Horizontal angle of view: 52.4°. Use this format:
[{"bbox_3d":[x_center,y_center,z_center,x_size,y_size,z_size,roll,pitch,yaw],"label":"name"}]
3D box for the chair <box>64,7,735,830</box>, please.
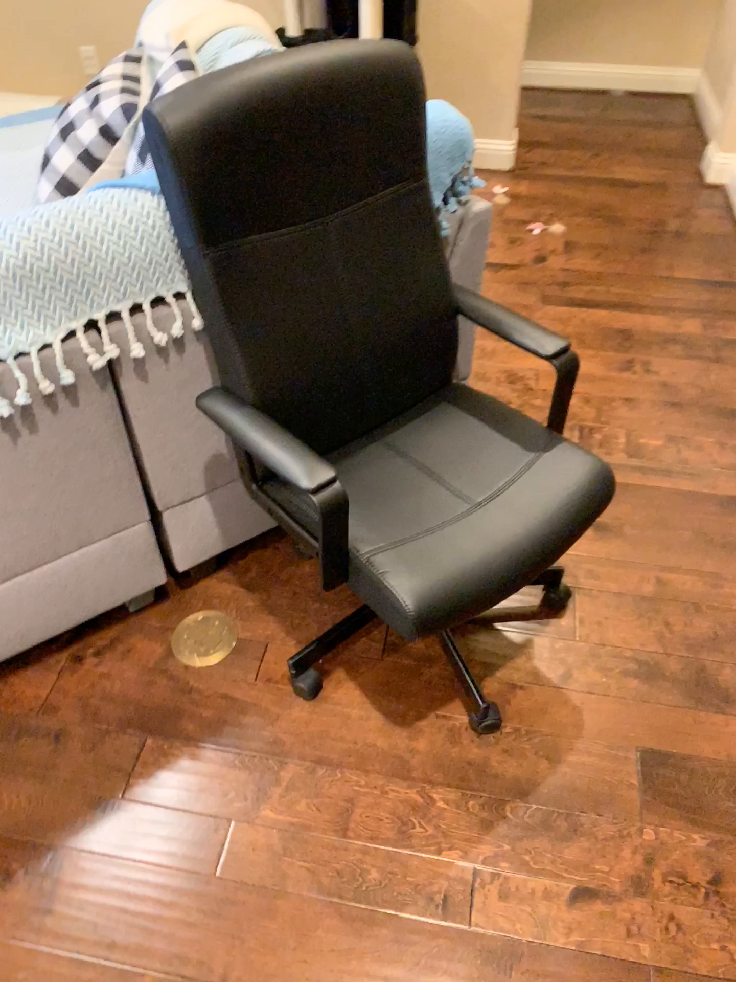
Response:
[{"bbox_3d":[0.103,-0.133,1.345,0.735,1.037,0.762,-28,51,-25],"label":"chair"}]
